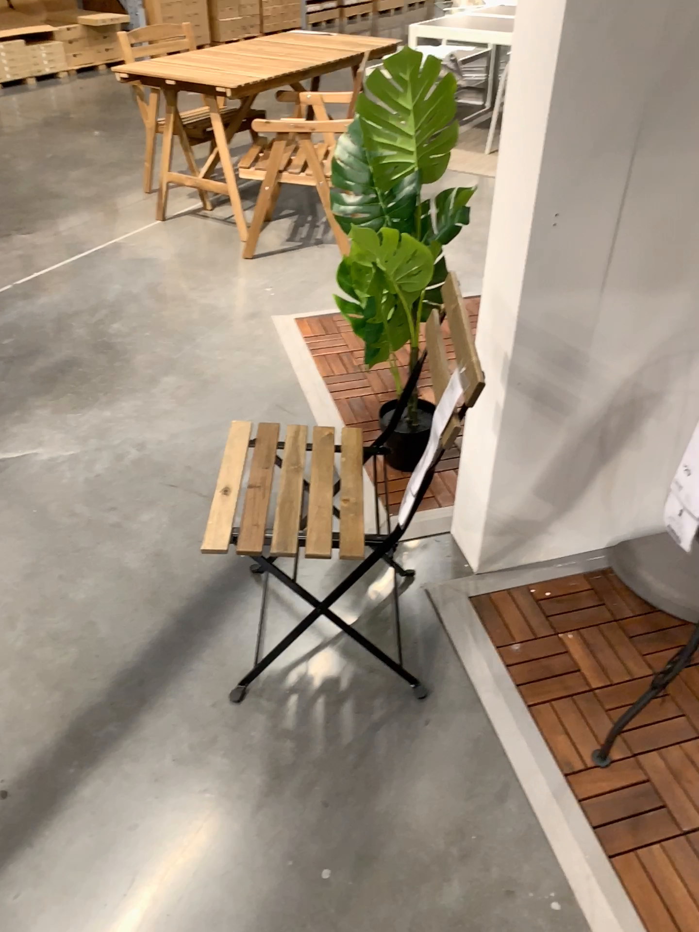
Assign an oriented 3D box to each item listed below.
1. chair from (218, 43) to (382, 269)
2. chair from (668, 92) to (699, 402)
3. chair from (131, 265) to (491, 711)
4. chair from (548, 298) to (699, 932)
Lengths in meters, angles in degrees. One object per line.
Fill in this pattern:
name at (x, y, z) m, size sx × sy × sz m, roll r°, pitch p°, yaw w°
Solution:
chair at (-0.193, -1.453, 3.319) m, size 0.606 × 0.811 × 0.641 m, roll 5°, pitch 38°, yaw 5°
chair at (1.526, -0.752, 2.419) m, size 0.507 × 0.811 × 0.499 m, roll 23°, pitch 43°, yaw 26°
chair at (-0.052, 0.058, 1.321) m, size 0.476 × 0.721 × 0.410 m, roll 1°, pitch 37°, yaw 0°
chair at (0.655, 0.292, 0.960) m, size 0.398 × 0.821 × 0.559 m, roll -9°, pitch 39°, yaw -12°
